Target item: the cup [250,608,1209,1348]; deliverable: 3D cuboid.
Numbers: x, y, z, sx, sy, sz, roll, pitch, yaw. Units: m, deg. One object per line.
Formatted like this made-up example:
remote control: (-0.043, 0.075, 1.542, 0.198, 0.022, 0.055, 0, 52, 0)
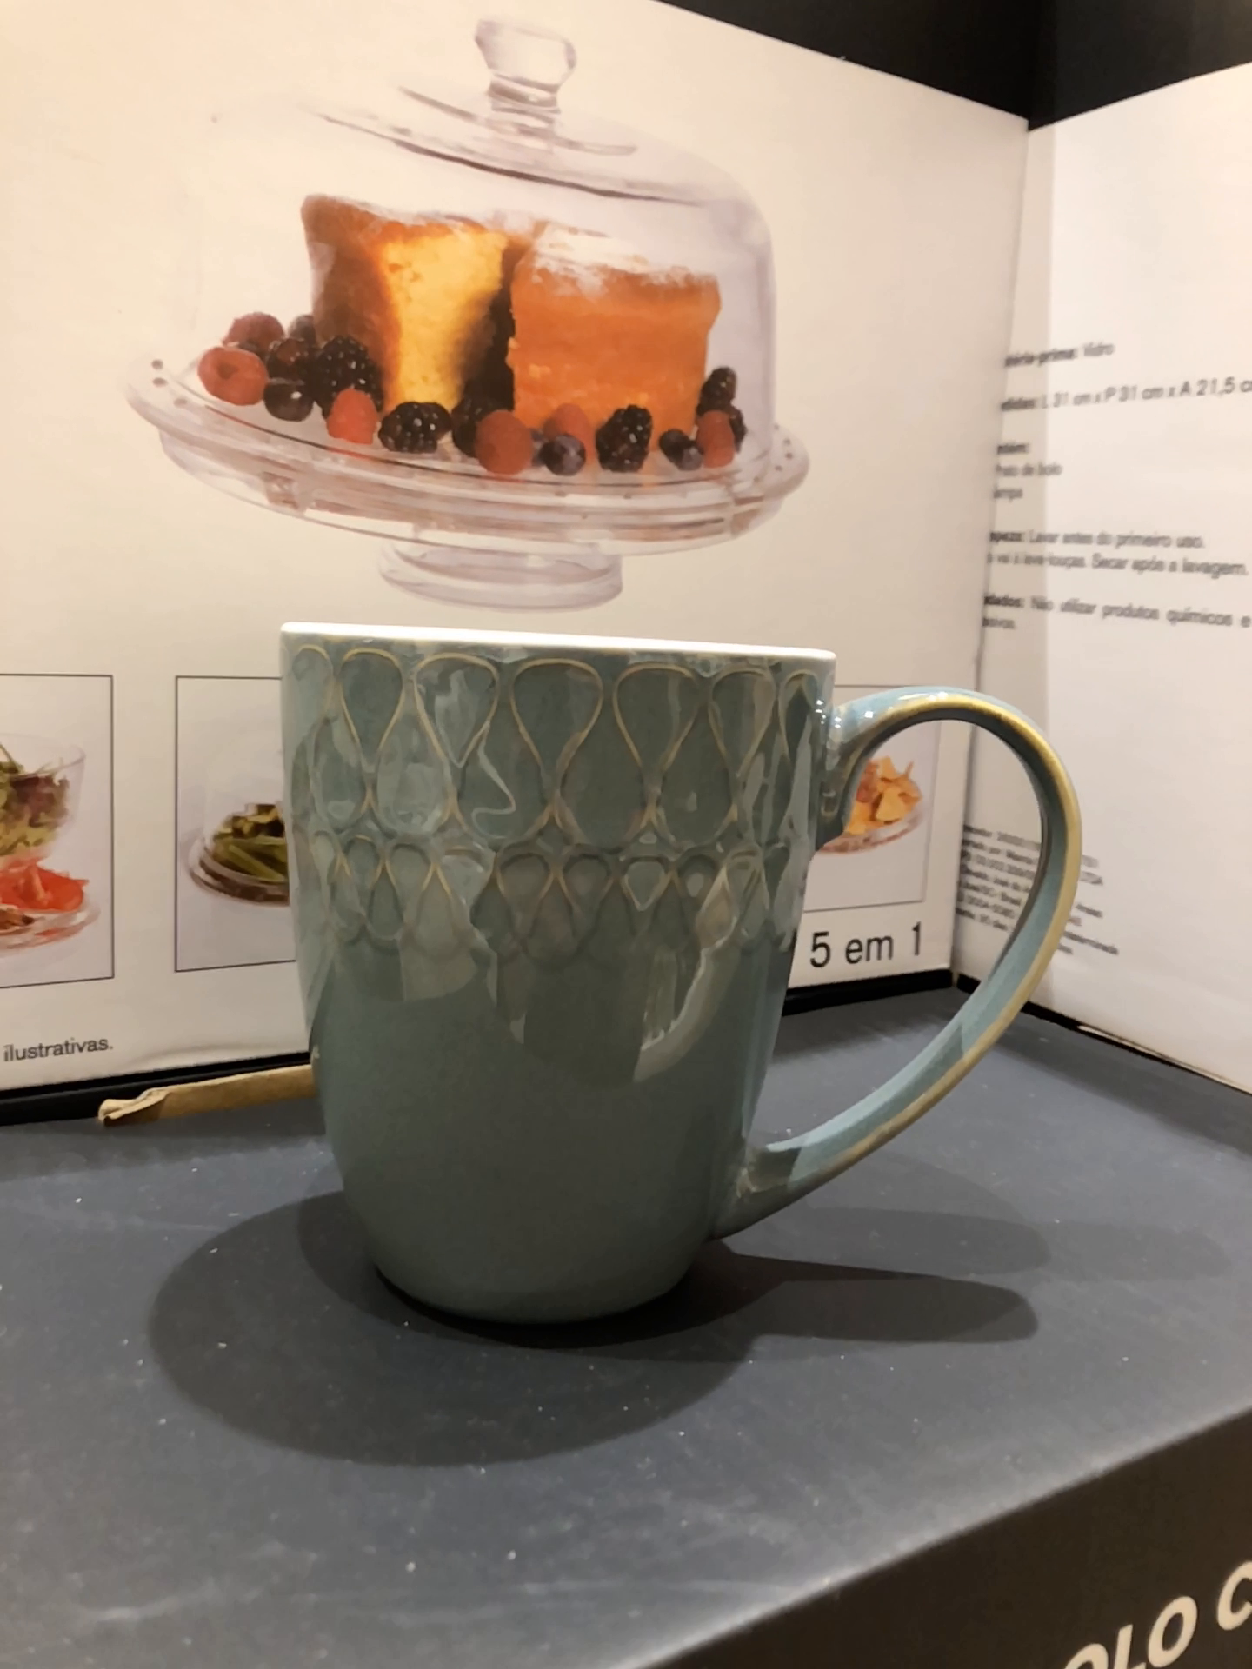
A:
cup: (0.009, 0.016, 0.240, 0.130, 0.100, 0.090, 2, 10, -8)
